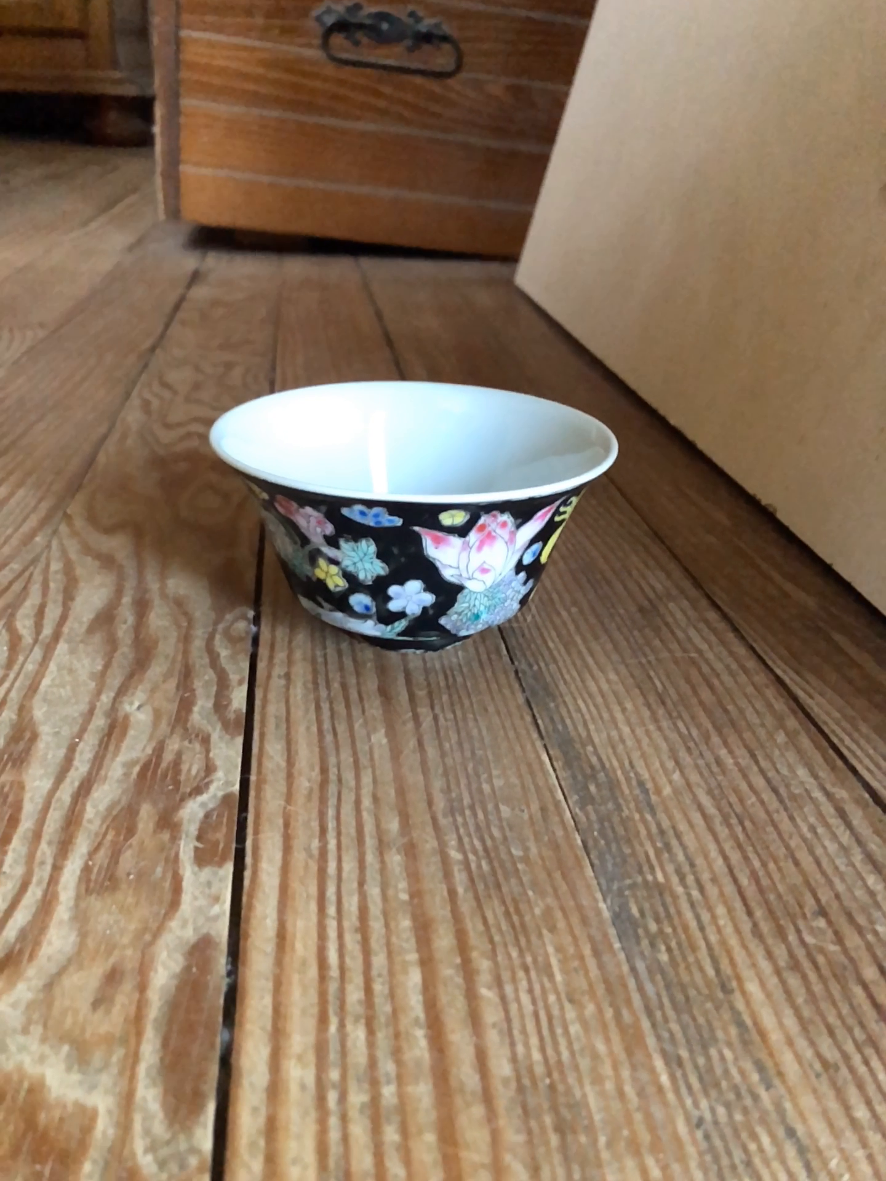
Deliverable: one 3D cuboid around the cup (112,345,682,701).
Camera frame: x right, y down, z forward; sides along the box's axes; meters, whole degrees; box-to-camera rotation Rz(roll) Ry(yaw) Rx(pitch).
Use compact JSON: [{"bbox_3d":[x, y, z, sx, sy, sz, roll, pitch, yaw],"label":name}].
[{"bbox_3d":[-0.013,-0.029,0.265,0.110,0.040,0.101,1,27,-1],"label":"cup"}]
